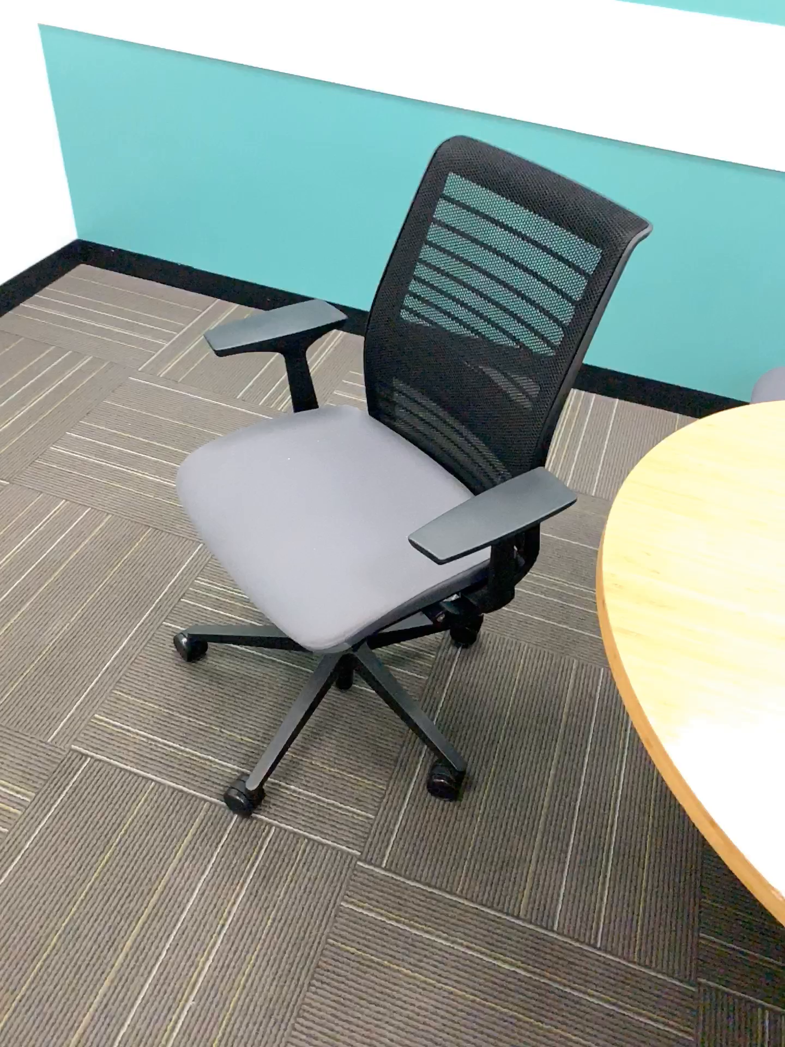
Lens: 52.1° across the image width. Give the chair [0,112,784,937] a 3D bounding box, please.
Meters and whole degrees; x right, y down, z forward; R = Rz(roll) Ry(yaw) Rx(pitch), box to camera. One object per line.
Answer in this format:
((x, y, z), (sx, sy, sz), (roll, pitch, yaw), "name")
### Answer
((-0.015, -0.041, 1.424), (0.842, 0.984, 0.733), (-28, 53, -32), "chair")
